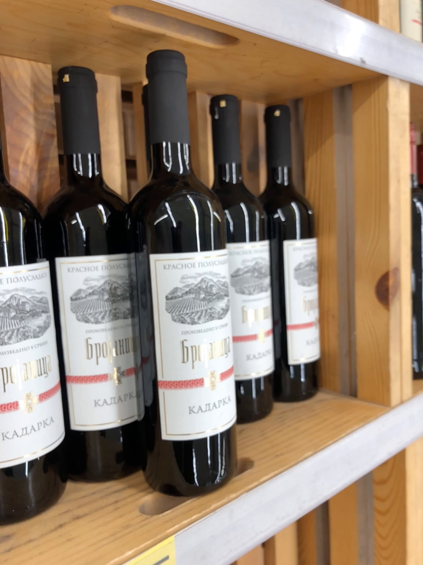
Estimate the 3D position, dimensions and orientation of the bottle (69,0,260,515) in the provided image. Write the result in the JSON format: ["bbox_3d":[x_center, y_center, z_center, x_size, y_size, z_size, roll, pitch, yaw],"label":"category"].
[{"bbox_3d":[-0.030,-0.018,0.328,0.080,0.080,0.309,-9,100,-39],"label":"bottle"}]
